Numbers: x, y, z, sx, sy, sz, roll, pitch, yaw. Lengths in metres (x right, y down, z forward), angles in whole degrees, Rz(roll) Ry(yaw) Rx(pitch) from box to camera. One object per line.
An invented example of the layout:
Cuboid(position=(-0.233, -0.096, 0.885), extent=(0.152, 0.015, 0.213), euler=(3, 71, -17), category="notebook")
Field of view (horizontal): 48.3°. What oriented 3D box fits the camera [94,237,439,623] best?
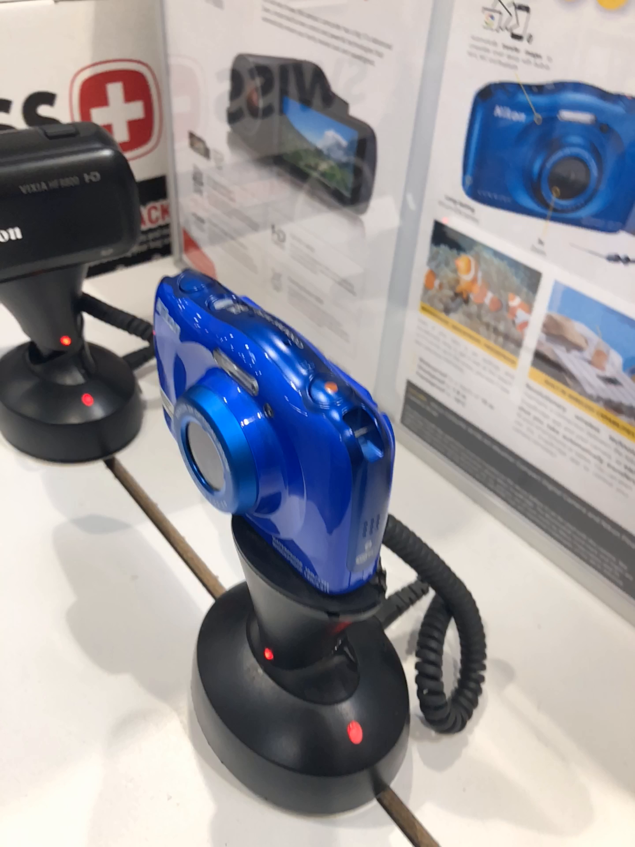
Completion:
Cuboid(position=(-0.020, -0.003, 0.208), extent=(0.040, 0.060, 0.100), euler=(-26, 48, -32), category="camera")
